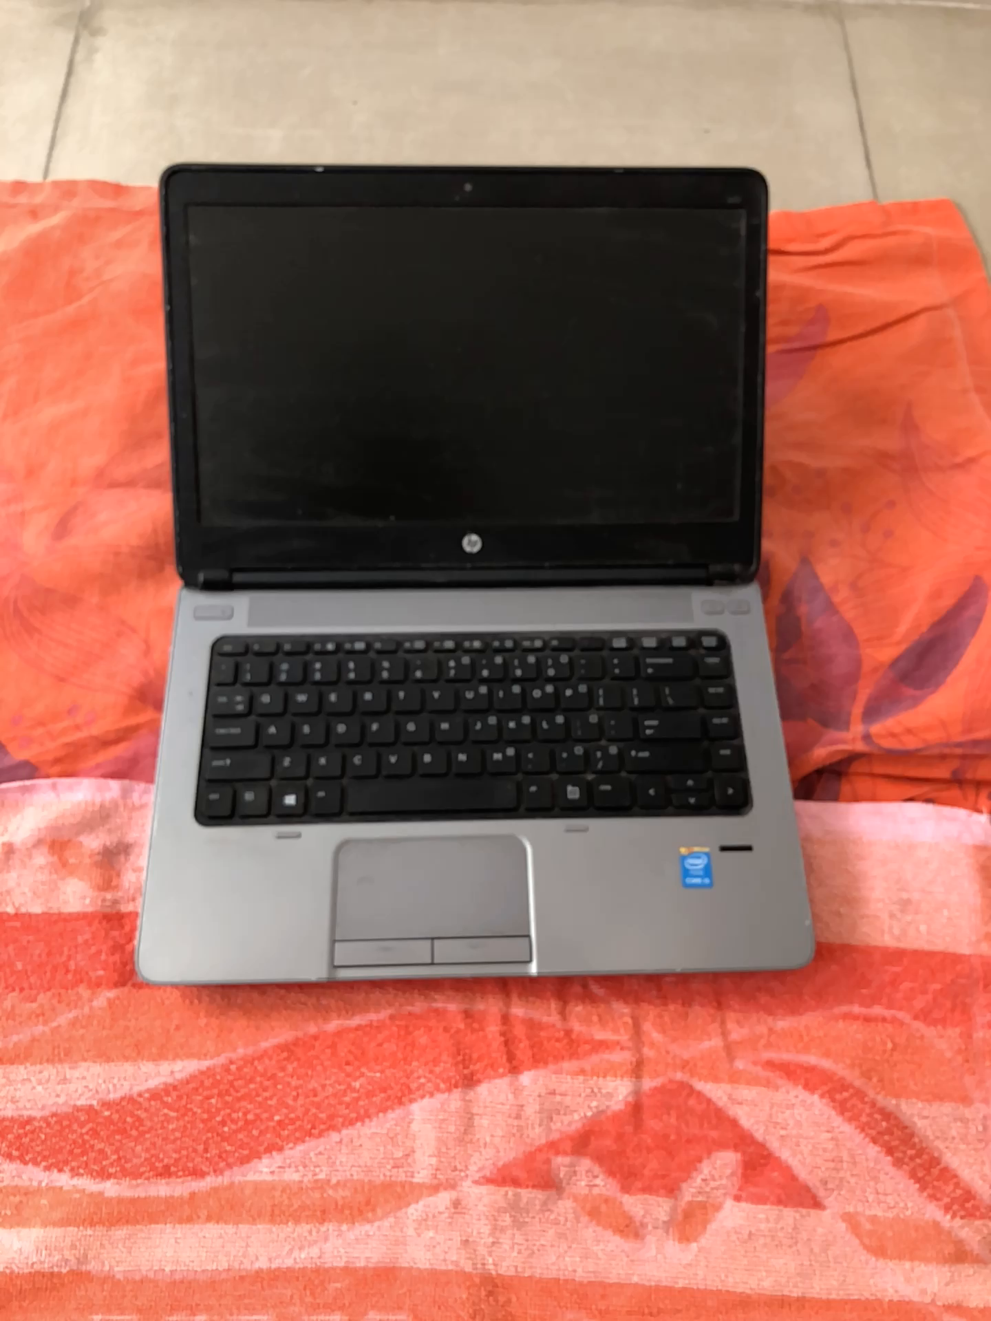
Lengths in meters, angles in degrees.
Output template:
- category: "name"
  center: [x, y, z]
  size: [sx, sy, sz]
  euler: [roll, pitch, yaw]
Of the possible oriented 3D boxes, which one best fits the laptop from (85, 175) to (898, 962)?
- category: "laptop"
  center: [-0.004, -0.061, 0.582]
  size: [0.328, 0.111, 0.411]
  euler: [0, 66, -2]
